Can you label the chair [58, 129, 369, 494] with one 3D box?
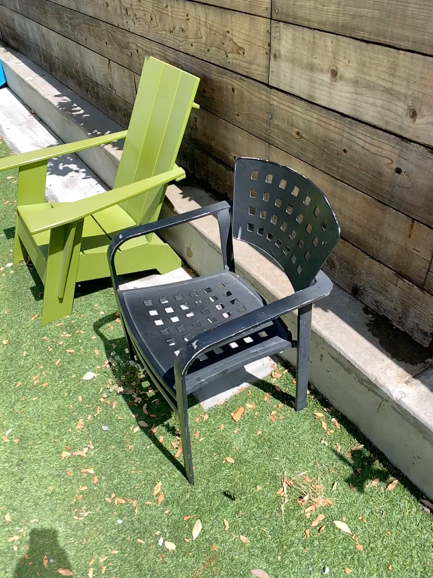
[{"bbox_3d":[-0.028,0.044,1.283,0.520,0.716,0.593,-22,44,-19],"label":"chair"}]
